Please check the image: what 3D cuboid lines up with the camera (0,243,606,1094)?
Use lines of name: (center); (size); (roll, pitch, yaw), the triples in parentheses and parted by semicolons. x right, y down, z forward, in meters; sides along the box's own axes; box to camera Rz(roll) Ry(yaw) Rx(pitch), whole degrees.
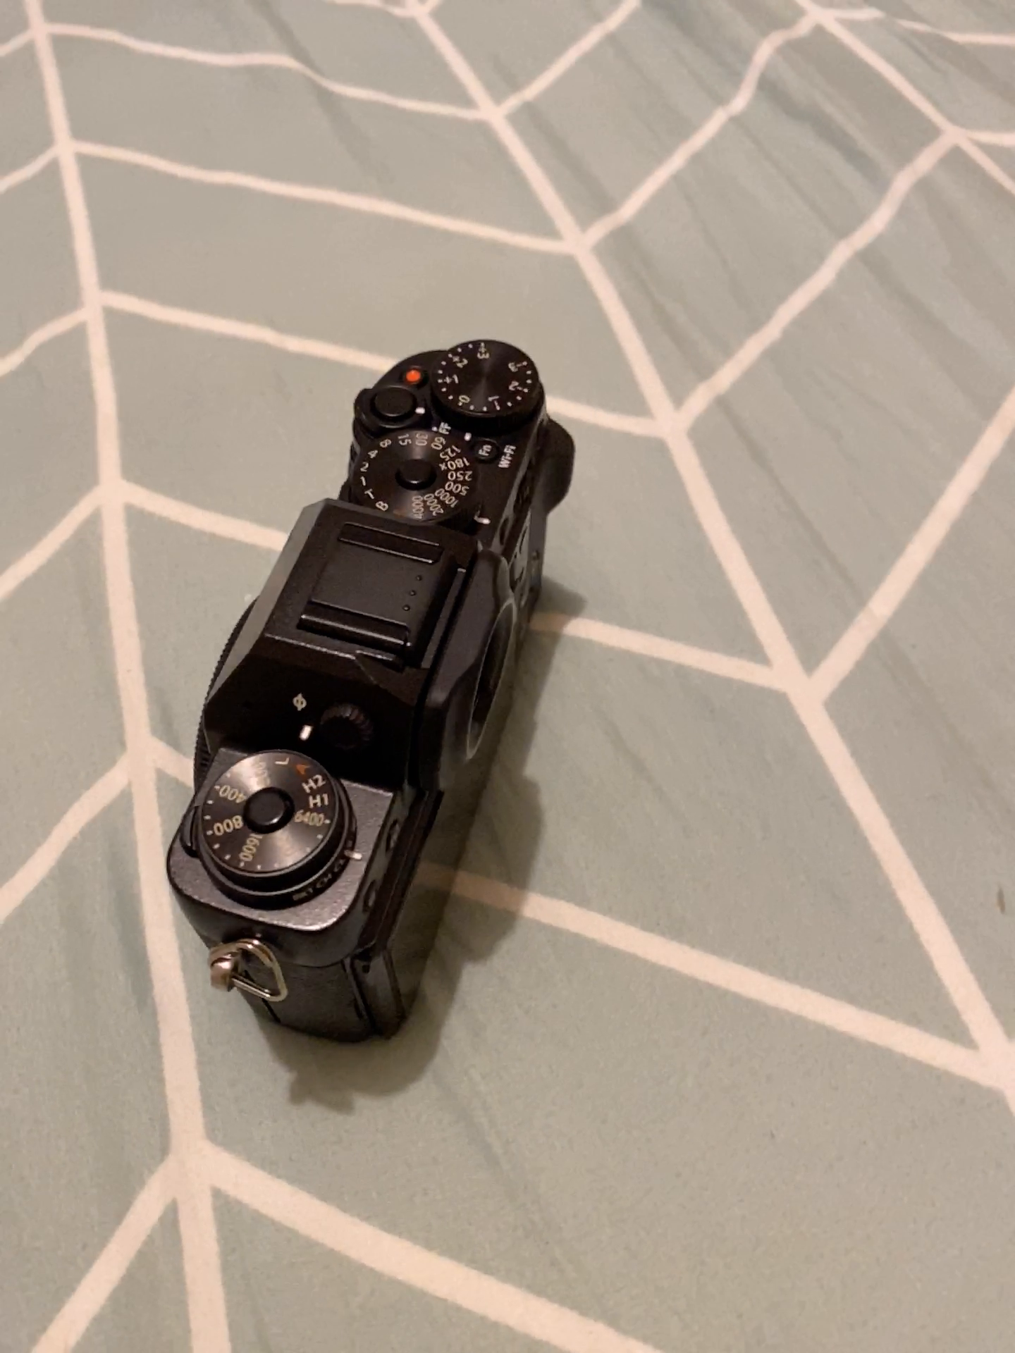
camera: (-0.026, -0.003, 0.213); (0.054, 0.082, 0.142); (14, 59, 7)
